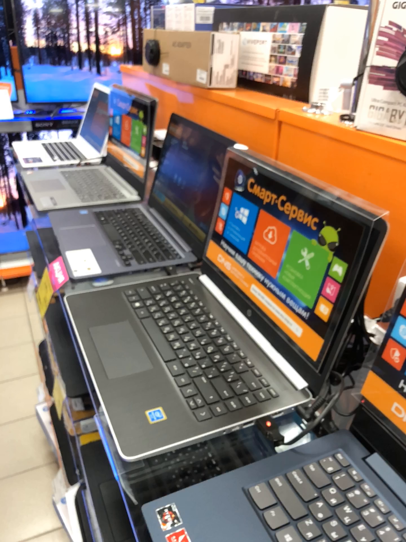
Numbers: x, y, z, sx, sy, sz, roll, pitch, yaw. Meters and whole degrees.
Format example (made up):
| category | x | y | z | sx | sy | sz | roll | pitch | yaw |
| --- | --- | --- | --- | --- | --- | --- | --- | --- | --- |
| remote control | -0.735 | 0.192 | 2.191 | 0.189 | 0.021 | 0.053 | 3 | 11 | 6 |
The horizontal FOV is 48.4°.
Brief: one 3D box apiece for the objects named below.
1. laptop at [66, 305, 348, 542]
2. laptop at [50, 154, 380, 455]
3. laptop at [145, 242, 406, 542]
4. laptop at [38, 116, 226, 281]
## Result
| category | x | y | z | sx | sy | sz | roll | pitch | yaw |
| --- | --- | --- | --- | --- | --- | --- | --- | --- | --- |
| laptop | -0.030 | 0.263 | 0.655 | 0.251 | 0.245 | 0.364 | -9 | 29 | -22 |
| laptop | -0.018 | -0.003 | 0.561 | 0.267 | 0.197 | 0.314 | -10 | 30 | -22 |
| laptop | 0.118 | 0.144 | 0.267 | 0.248 | 0.205 | 0.277 | -9 | 27 | -20 |
| laptop | -0.146 | -0.165 | 0.867 | 0.279 | 0.198 | 0.314 | -9 | 30 | -24 |
